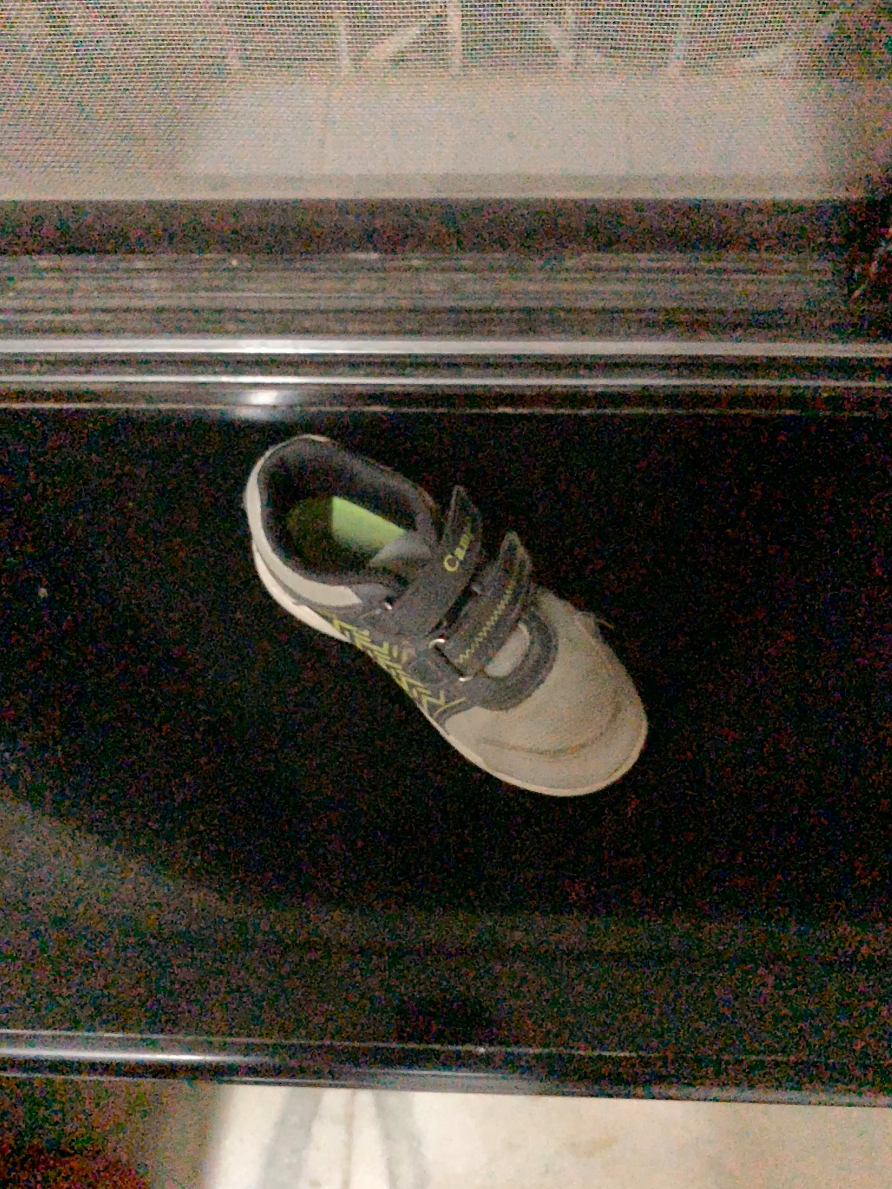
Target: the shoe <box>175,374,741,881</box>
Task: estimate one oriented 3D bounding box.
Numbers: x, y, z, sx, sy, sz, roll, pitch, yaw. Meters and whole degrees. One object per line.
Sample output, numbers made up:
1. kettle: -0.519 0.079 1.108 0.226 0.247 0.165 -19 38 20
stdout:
1. shoe: 0.000 0.012 0.420 0.231 0.080 0.090 37 72 17
